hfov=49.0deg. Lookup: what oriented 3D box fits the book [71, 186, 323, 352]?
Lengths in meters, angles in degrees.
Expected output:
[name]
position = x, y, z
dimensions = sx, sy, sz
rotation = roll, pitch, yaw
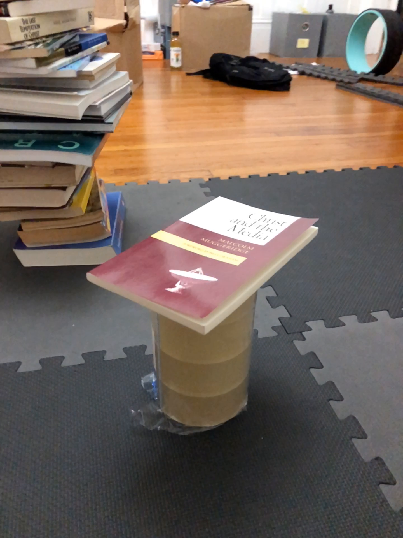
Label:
[book]
position = 0.007, -0.018, 0.419
dimensions = 0.140, 0.020, 0.211
rotation = 21, 39, 28
